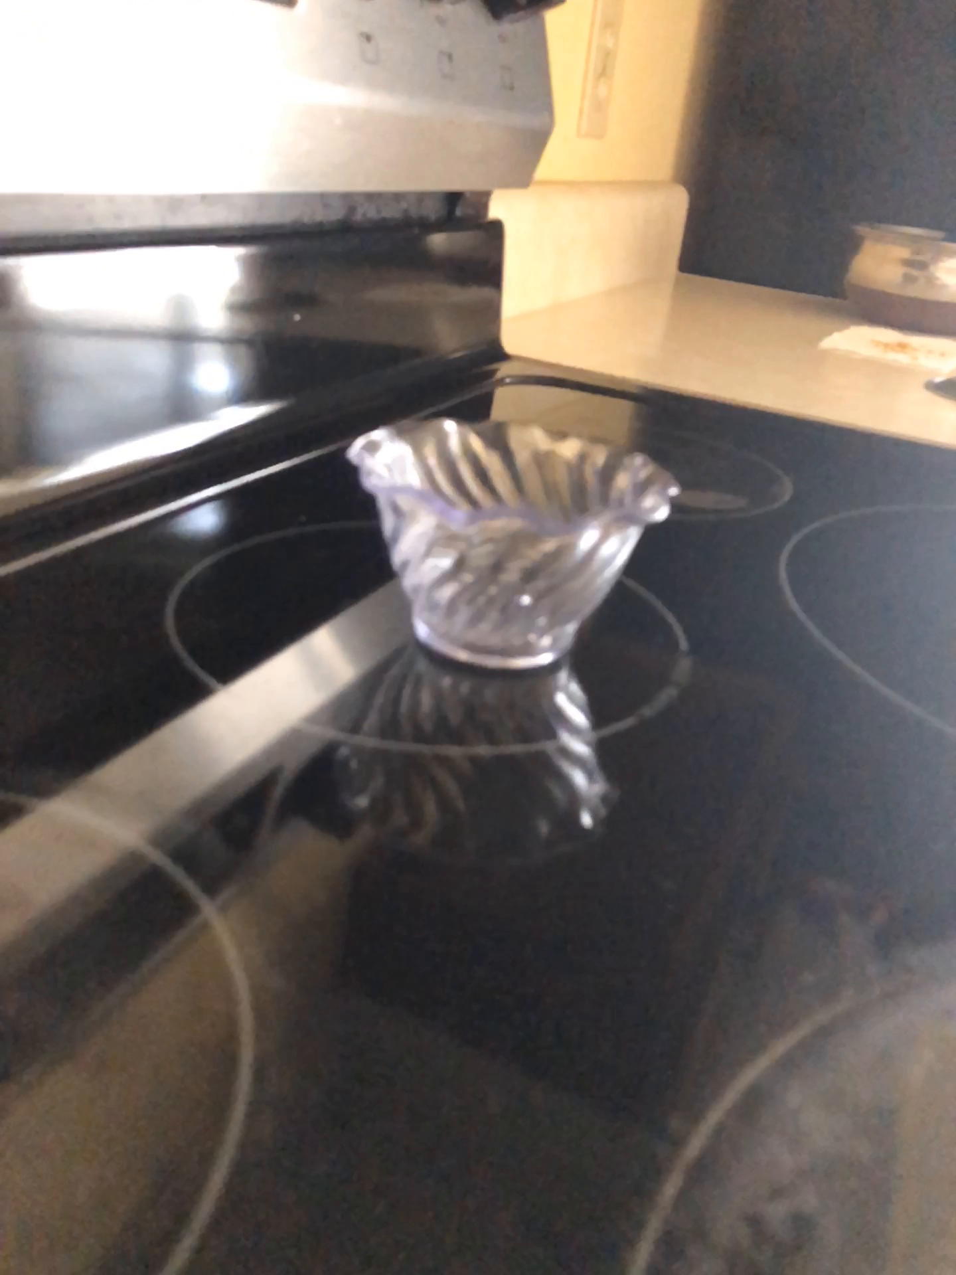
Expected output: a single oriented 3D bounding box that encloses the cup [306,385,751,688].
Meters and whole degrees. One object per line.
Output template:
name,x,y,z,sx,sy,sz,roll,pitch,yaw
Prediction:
cup,0.006,-0.035,0.306,0.100,0.052,0.101,5,26,-2
